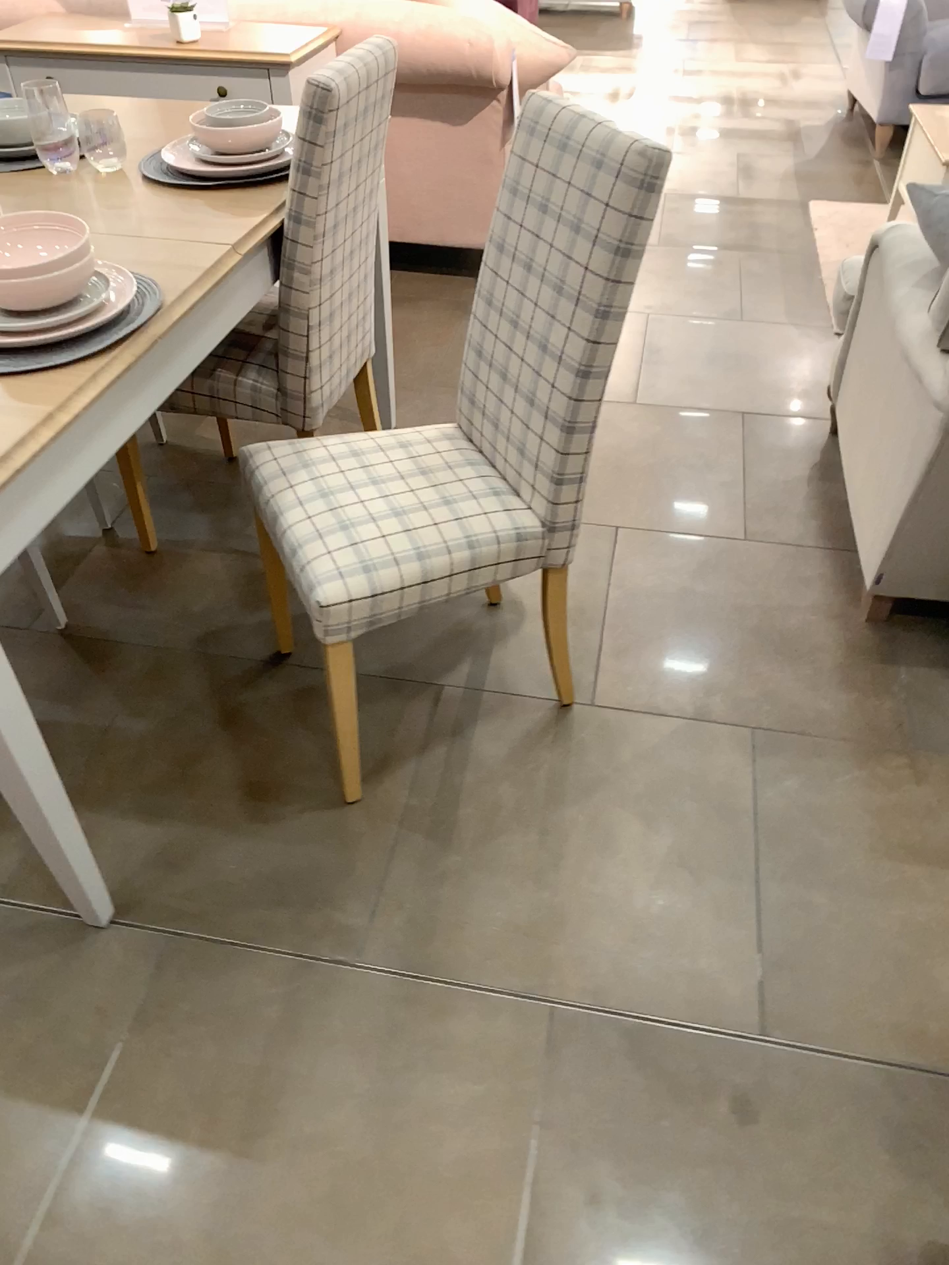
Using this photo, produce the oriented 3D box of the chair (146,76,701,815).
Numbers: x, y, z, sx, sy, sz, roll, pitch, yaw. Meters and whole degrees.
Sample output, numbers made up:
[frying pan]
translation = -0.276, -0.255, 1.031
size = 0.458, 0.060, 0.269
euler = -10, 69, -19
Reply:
[chair]
translation = -0.075, -0.267, 1.515
size = 0.567, 0.937, 0.432
euler = -19, 45, -20
